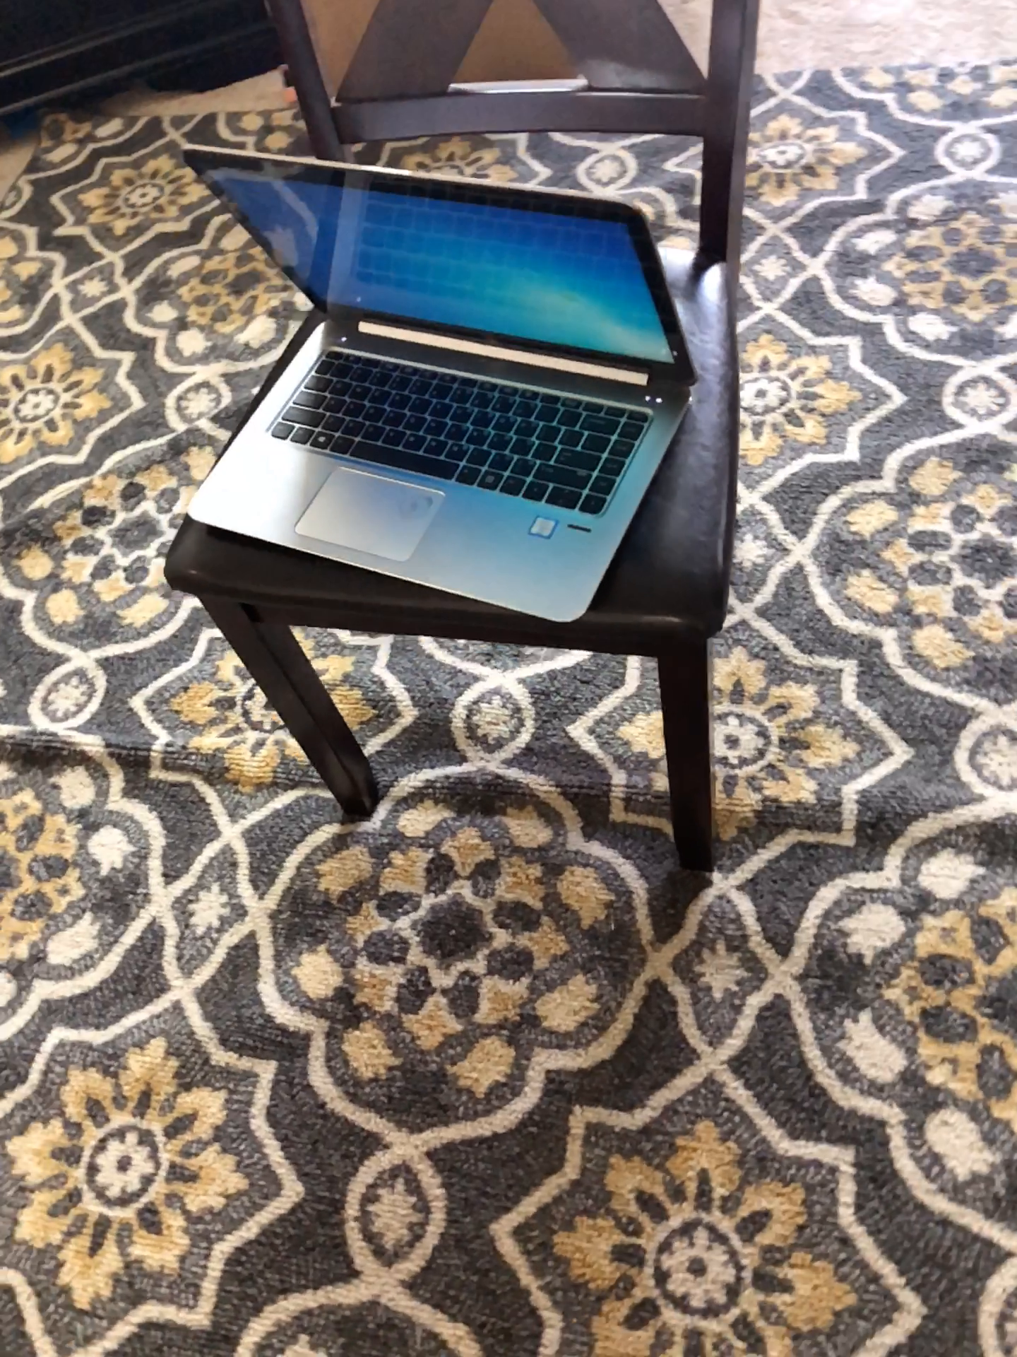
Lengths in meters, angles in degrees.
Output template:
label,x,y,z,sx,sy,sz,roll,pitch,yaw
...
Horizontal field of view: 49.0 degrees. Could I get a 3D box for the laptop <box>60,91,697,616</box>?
label,x,y,z,sx,sy,sz,roll,pitch,yaw
laptop,-0.067,-0.221,0.745,0.323,0.194,0.212,17,62,20
